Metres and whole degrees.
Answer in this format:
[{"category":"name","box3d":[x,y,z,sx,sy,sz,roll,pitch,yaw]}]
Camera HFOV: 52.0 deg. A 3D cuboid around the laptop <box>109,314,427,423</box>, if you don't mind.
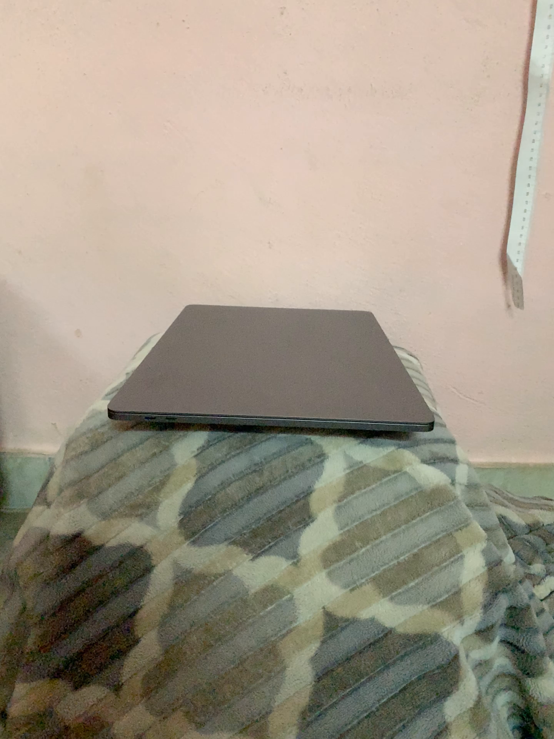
[{"category":"laptop","box3d":[-0.002,-0.016,0.561,0.228,0.002,0.327,1,18,2]}]
